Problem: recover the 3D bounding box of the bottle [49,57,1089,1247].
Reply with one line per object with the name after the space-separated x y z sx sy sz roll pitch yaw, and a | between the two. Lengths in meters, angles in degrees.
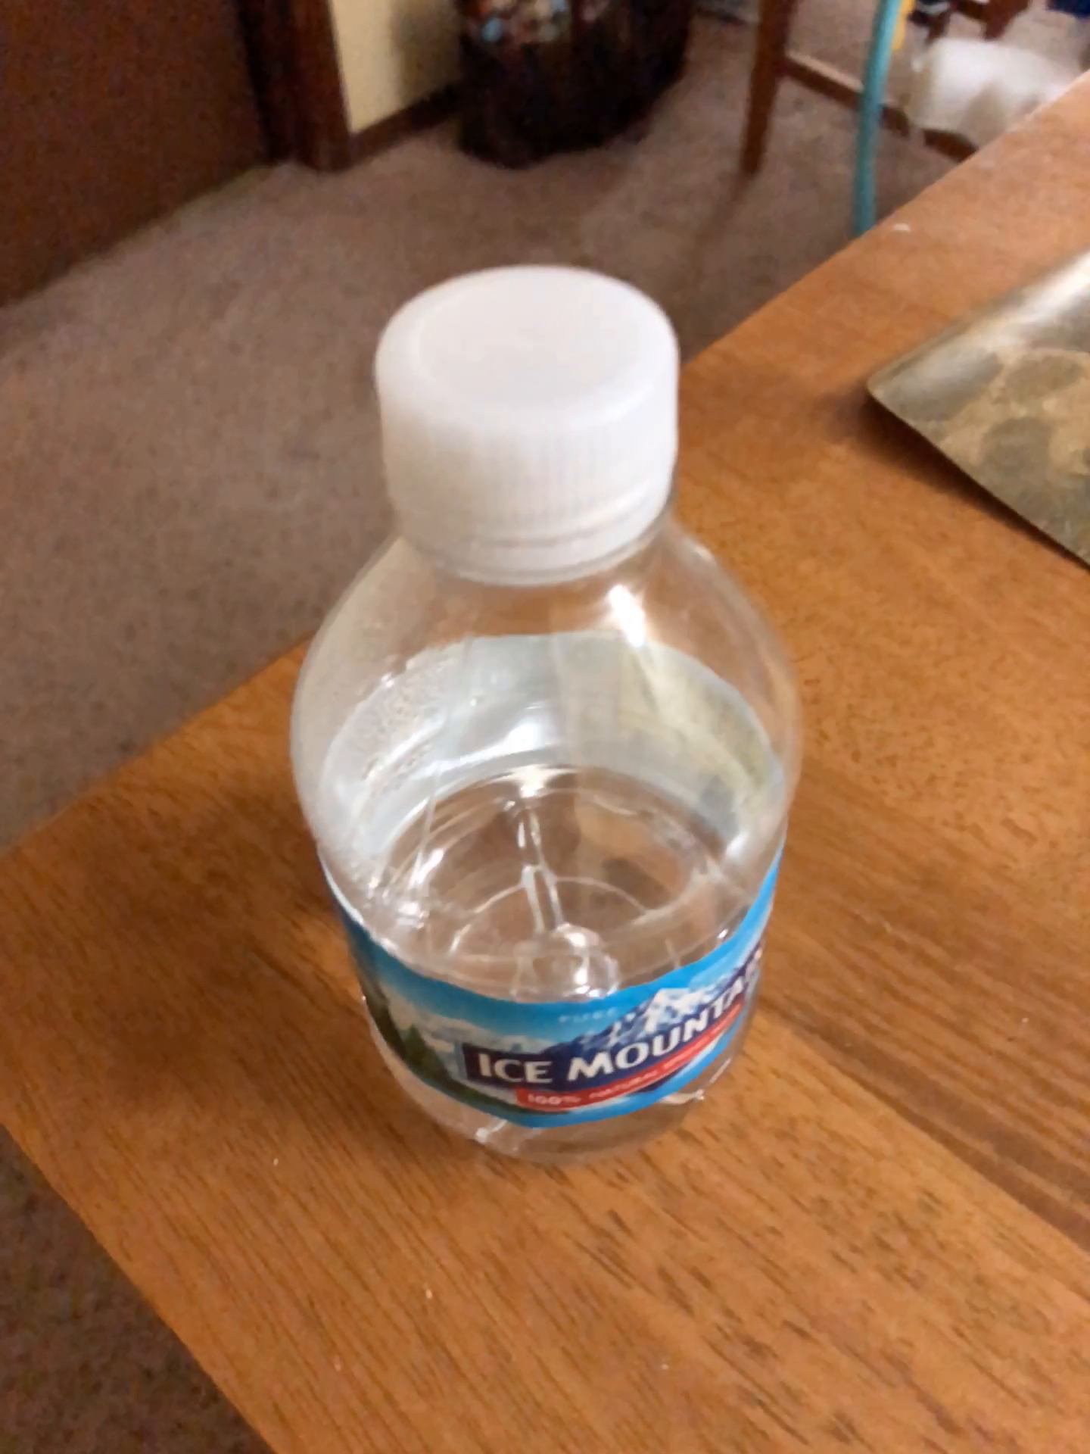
0.000 -0.003 0.148 0.070 0.110 0.070 -1 50 2 | bottle
